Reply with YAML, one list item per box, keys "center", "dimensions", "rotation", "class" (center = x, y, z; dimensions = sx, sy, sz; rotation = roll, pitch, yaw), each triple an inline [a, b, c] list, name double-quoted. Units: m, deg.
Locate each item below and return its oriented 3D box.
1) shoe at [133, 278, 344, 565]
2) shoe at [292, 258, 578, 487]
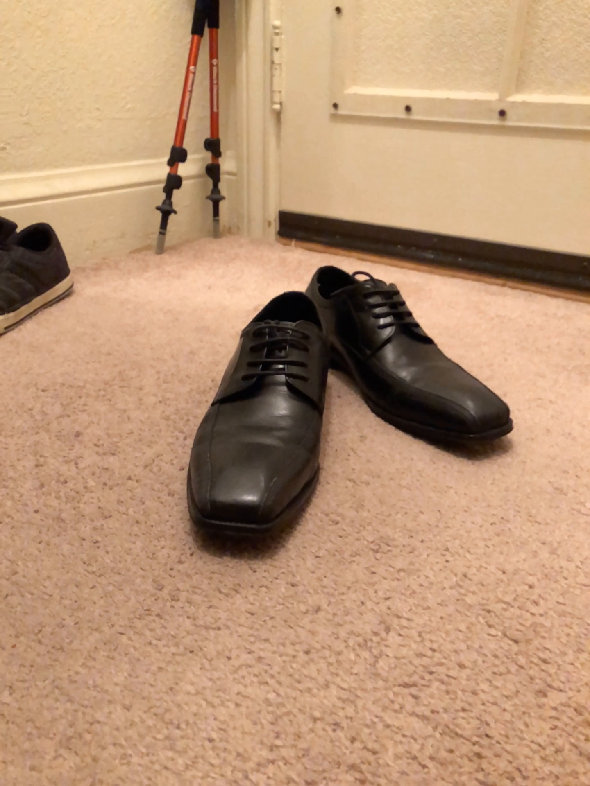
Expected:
- center: [-0.026, 0.000, 0.543]
  dimensions: [0.110, 0.107, 0.285]
  rotation: [5, 26, 6]
  class: "shoe"
- center: [0.116, -0.041, 0.662]
  dimensions: [0.115, 0.110, 0.298]
  rotation: [-11, 29, -25]
  class: "shoe"
